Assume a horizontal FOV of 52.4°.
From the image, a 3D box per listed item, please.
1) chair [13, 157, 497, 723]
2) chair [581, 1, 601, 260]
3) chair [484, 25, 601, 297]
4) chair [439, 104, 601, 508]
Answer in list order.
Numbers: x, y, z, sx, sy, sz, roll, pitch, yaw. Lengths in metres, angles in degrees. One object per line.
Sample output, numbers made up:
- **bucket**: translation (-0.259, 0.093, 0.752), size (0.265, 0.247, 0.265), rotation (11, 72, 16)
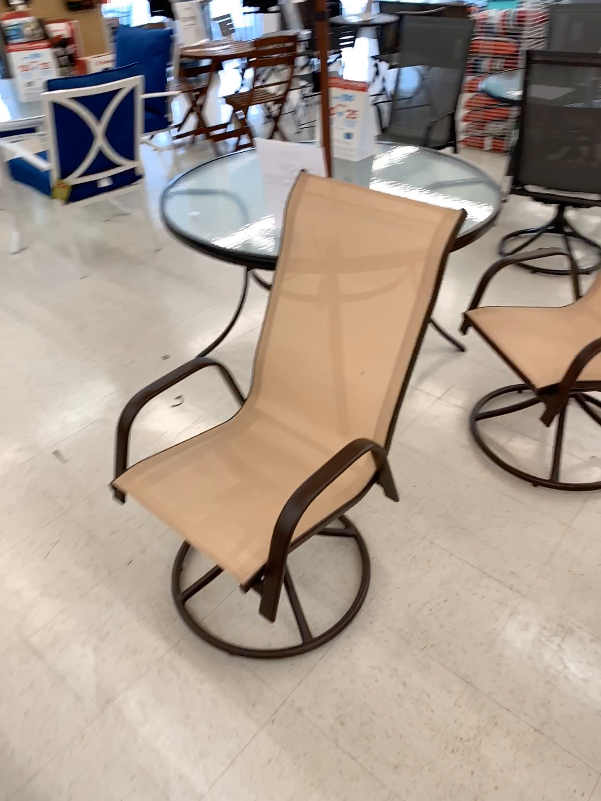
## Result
- **chair**: translation (-0.049, 0.061, 1.428), size (0.570, 0.956, 0.709), rotation (27, 46, 32)
- **chair**: translation (1.868, -1.264, 2.827), size (0.709, 0.916, 0.570), rotation (25, 45, 30)
- **chair**: translation (1.211, -1.070, 2.689), size (0.569, 0.916, 0.710), rotation (11, 39, 16)
- **chair**: translation (0.884, -0.262, 1.779), size (0.707, 0.956, 0.571), rotation (-5, 38, -4)
